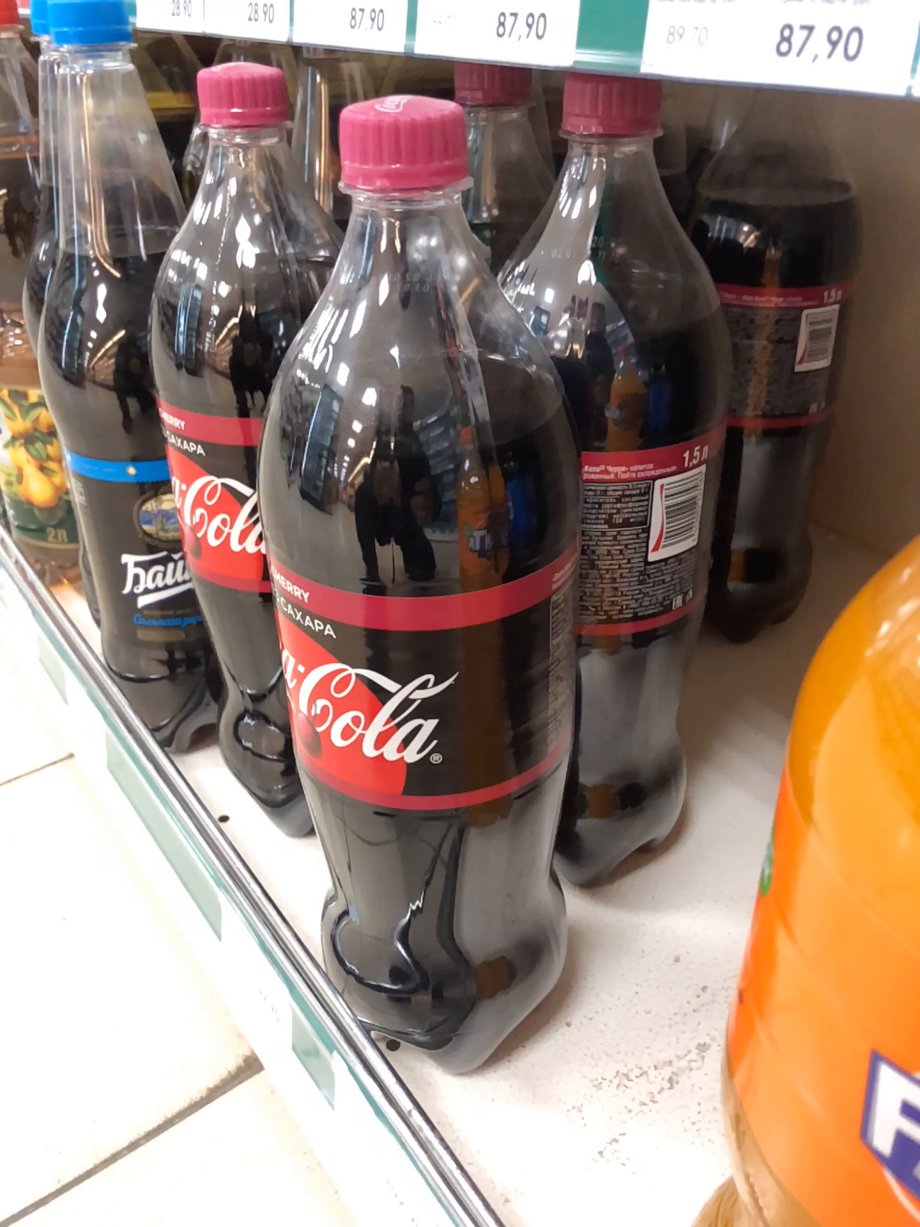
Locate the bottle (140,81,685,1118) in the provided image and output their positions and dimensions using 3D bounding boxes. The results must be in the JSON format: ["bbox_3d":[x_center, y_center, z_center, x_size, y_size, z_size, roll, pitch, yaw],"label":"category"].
[{"bbox_3d":[-0.010,0.009,0.312,0.088,0.295,0.092,-1,33,1],"label":"bottle"}]
